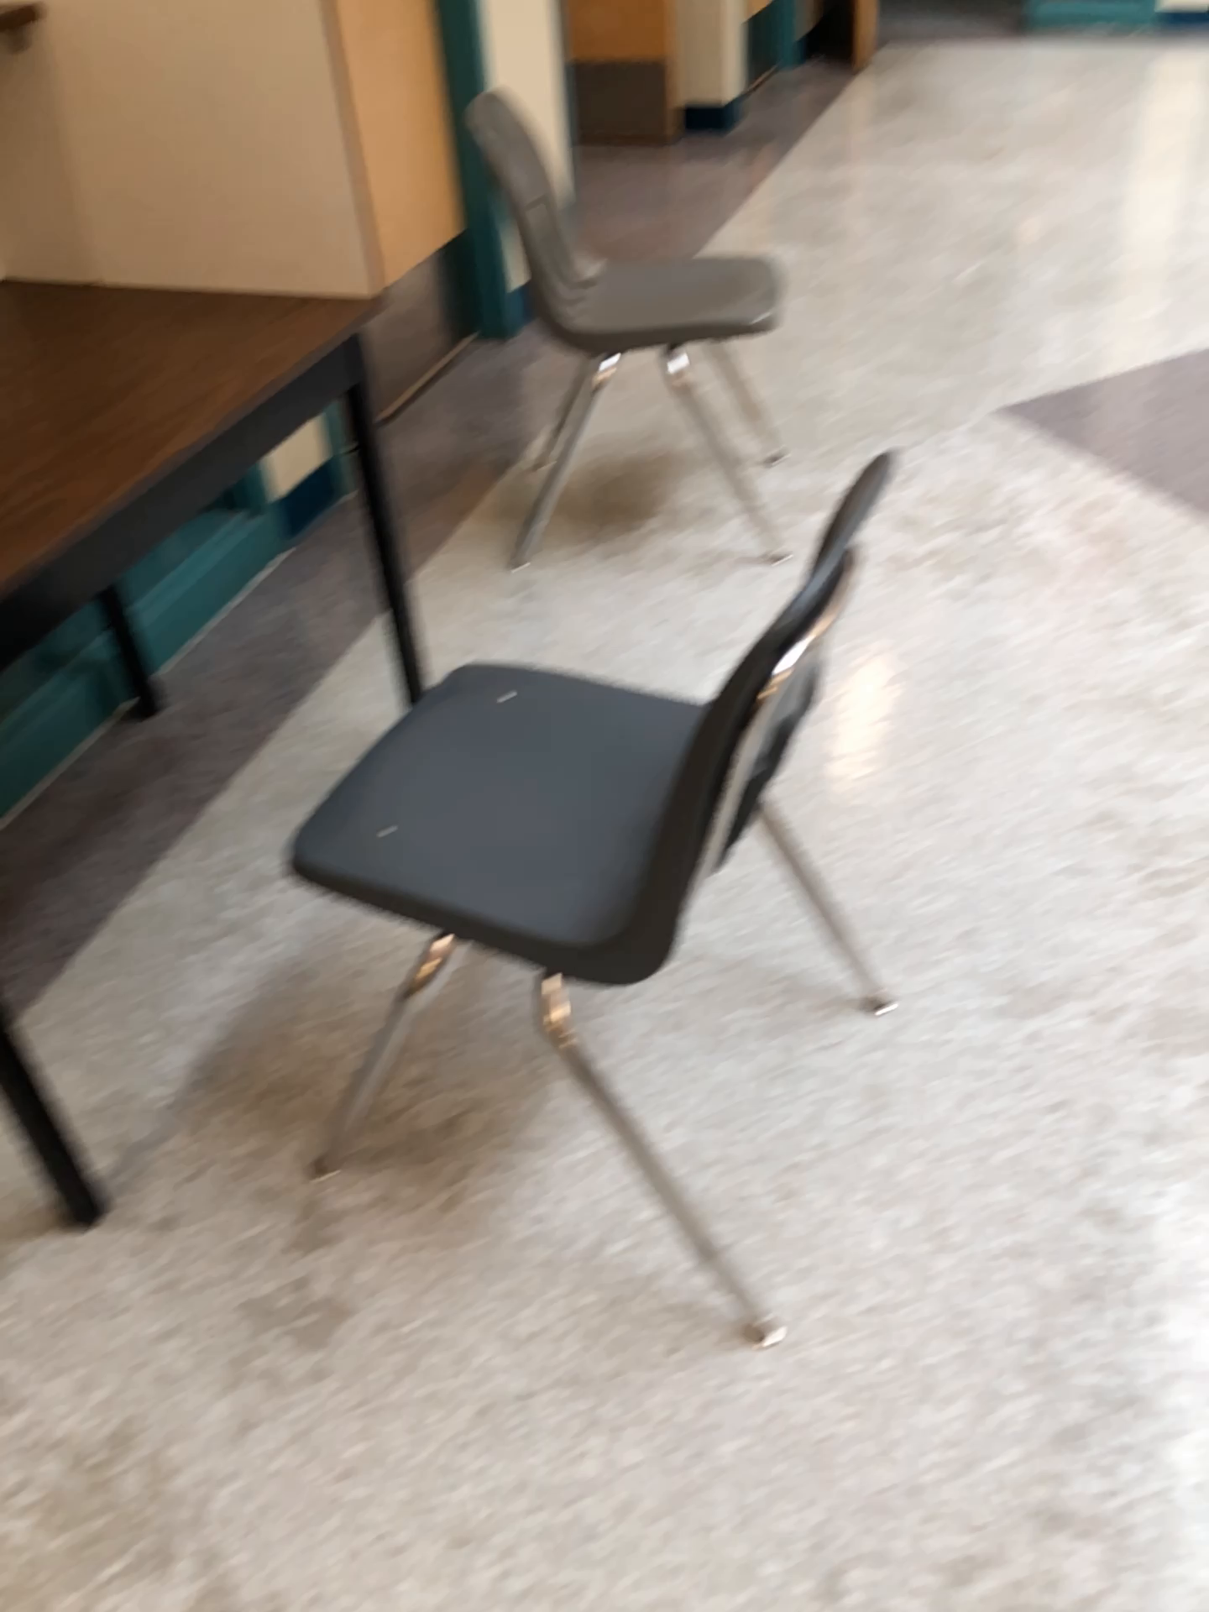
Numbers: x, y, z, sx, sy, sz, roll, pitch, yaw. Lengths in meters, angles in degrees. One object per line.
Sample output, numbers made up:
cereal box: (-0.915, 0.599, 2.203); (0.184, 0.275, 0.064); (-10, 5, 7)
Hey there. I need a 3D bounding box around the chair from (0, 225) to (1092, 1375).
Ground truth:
chair: (0.016, -0.049, 1.160); (0.611, 0.695, 0.593); (12, 41, 20)
